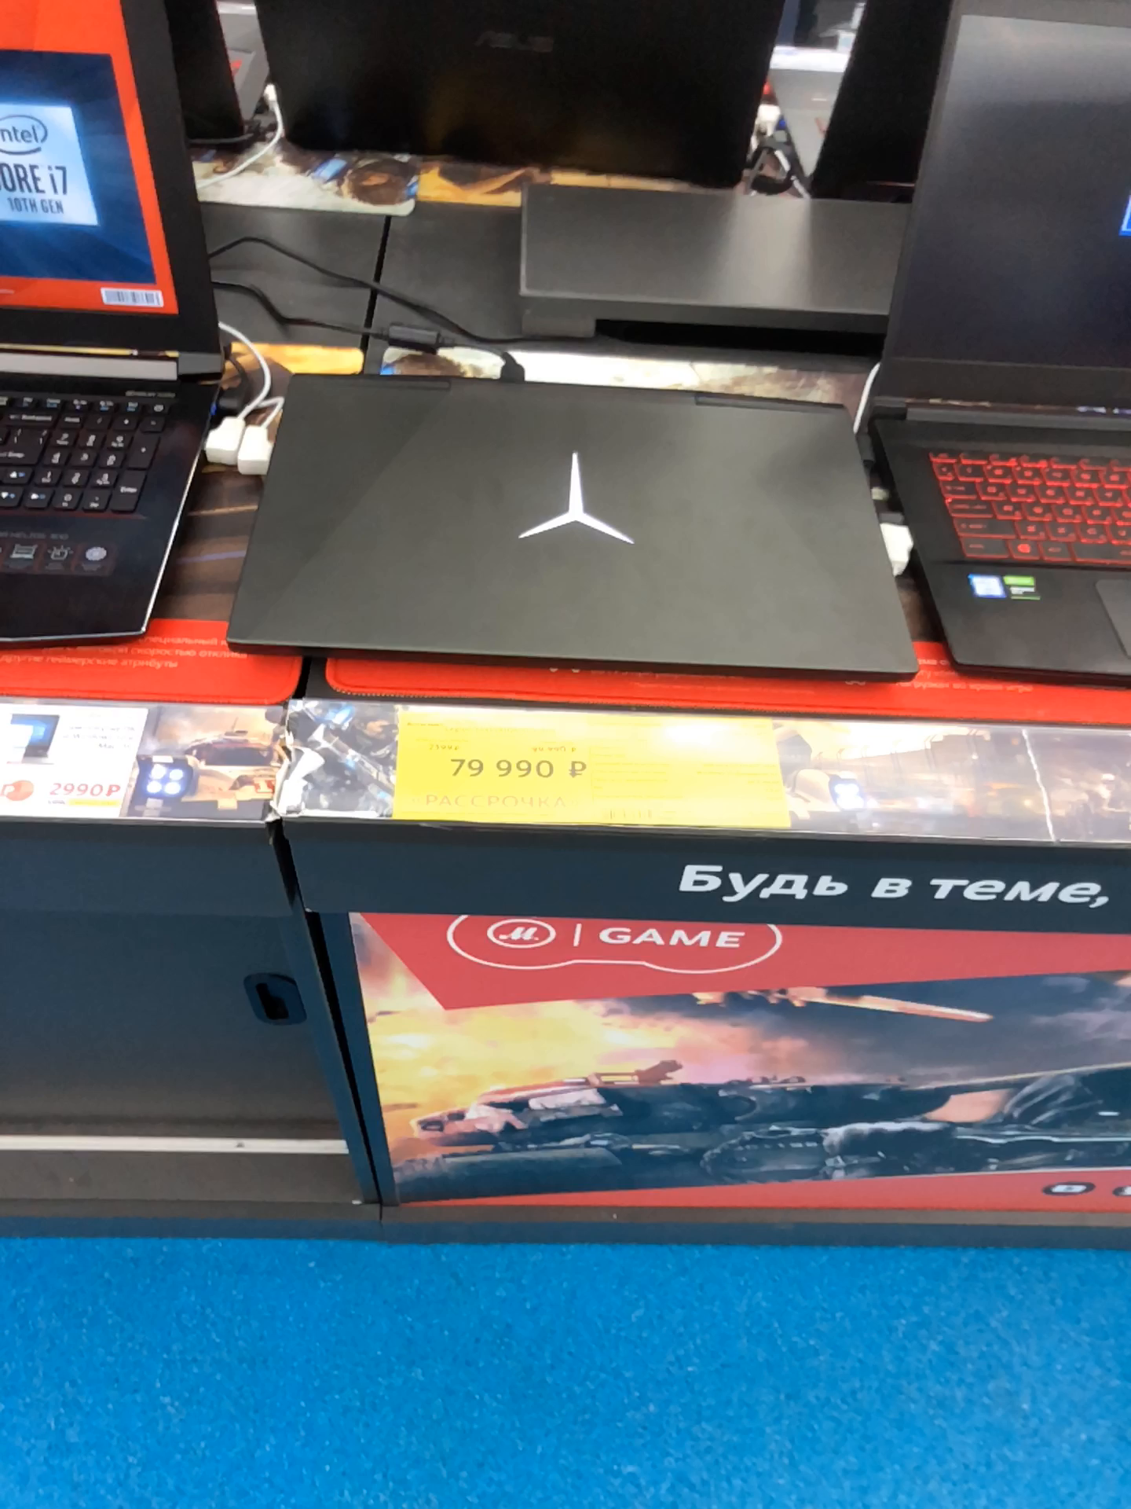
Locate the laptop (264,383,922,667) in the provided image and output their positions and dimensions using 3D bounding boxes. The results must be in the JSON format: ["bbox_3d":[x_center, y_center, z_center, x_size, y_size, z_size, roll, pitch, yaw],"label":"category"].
[{"bbox_3d":[0.014,-0.141,0.726,0.343,0.007,0.228,2,49,-3],"label":"laptop"}]
